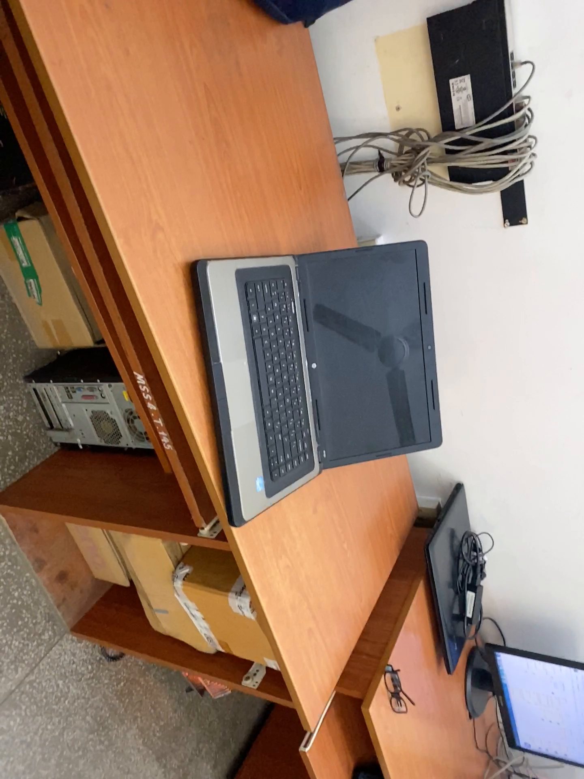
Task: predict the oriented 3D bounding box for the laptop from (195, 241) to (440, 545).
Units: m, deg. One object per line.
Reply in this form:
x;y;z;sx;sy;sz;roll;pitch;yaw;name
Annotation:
0.075;-0.030;0.960;0.428;0.158;0.383;-22;108;-54;laptop
